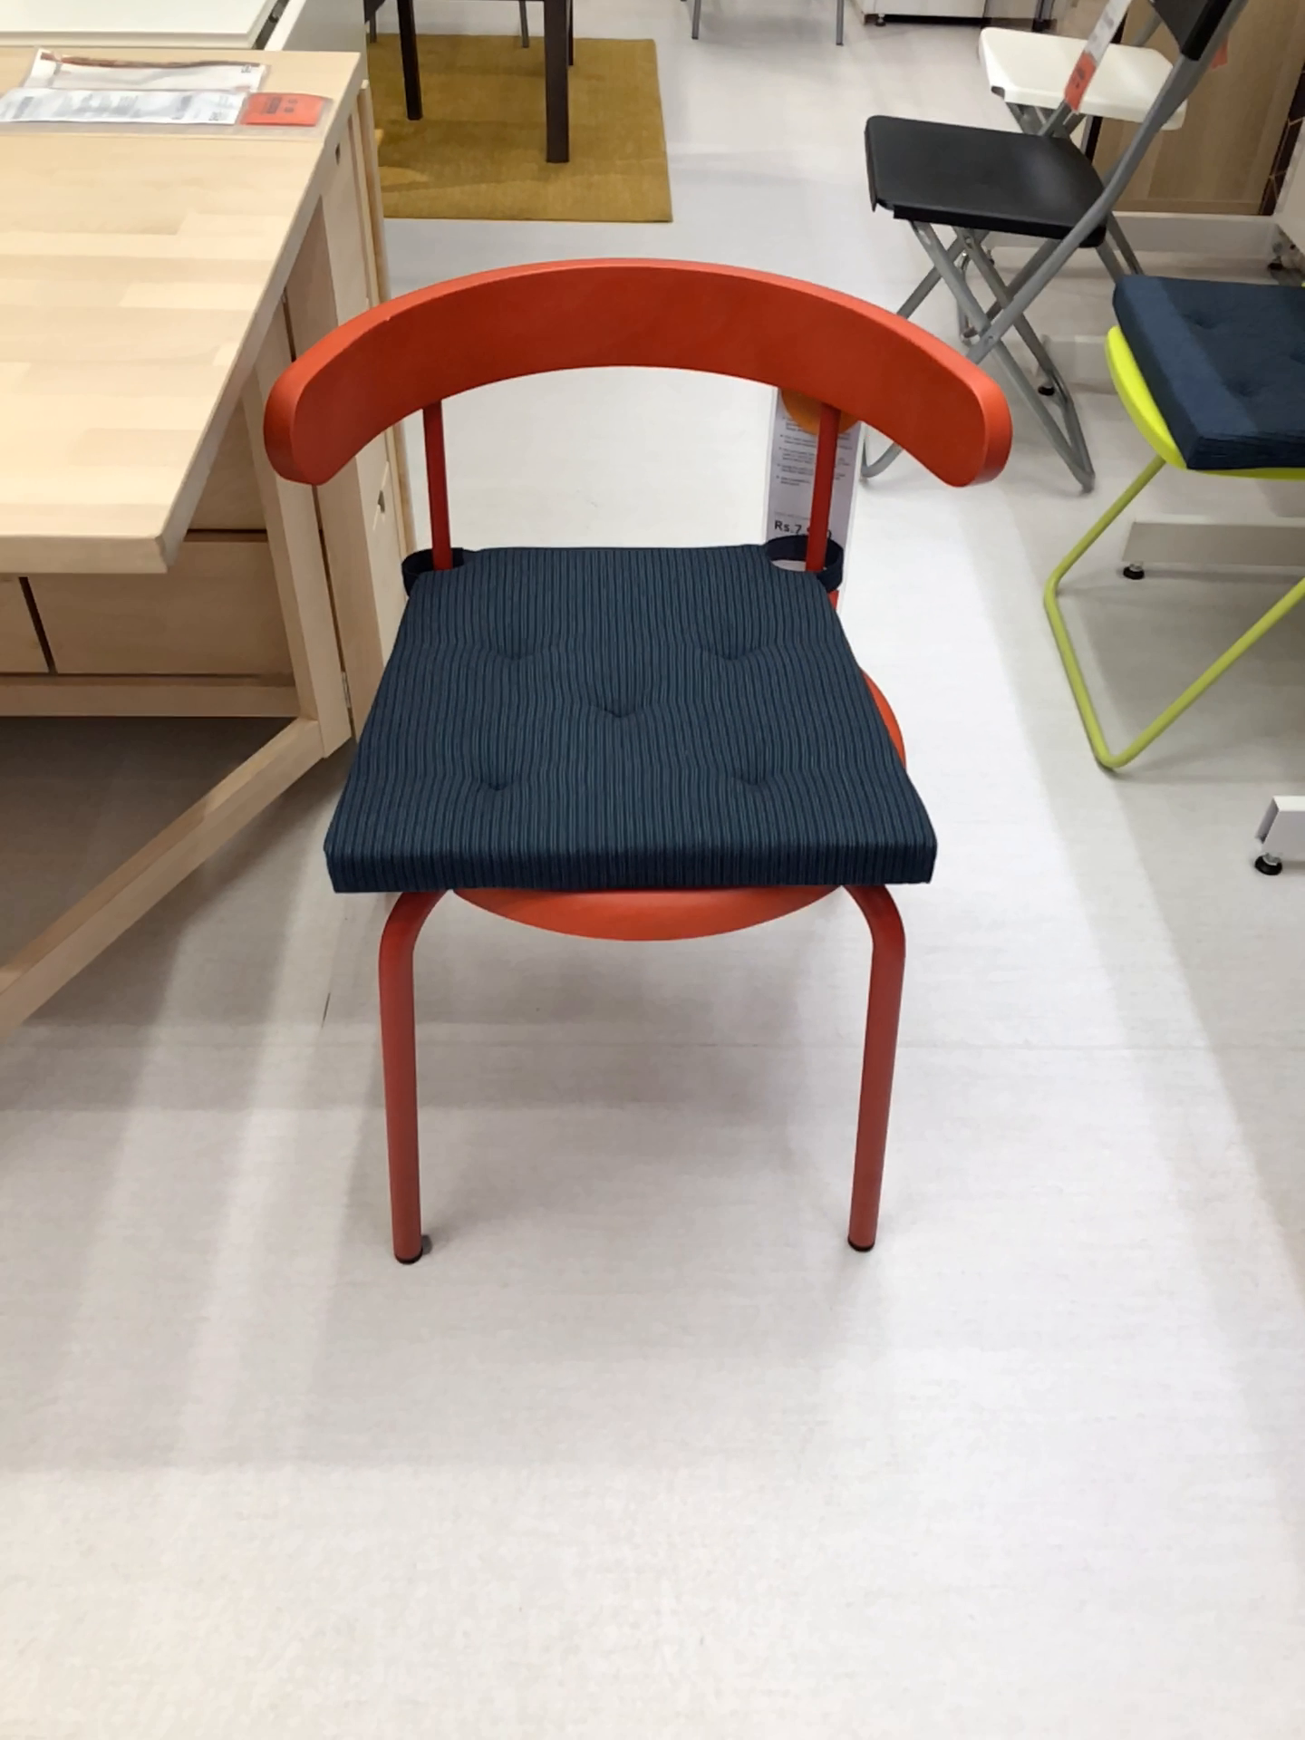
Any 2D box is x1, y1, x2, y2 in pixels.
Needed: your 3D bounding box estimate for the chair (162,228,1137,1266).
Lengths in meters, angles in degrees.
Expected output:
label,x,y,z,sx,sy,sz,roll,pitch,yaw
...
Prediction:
label,x,y,z,sx,sy,sz,roll,pitch,yaw
chair,-0.017,-0.083,1.177,0.520,0.675,0.503,-1,44,-3
